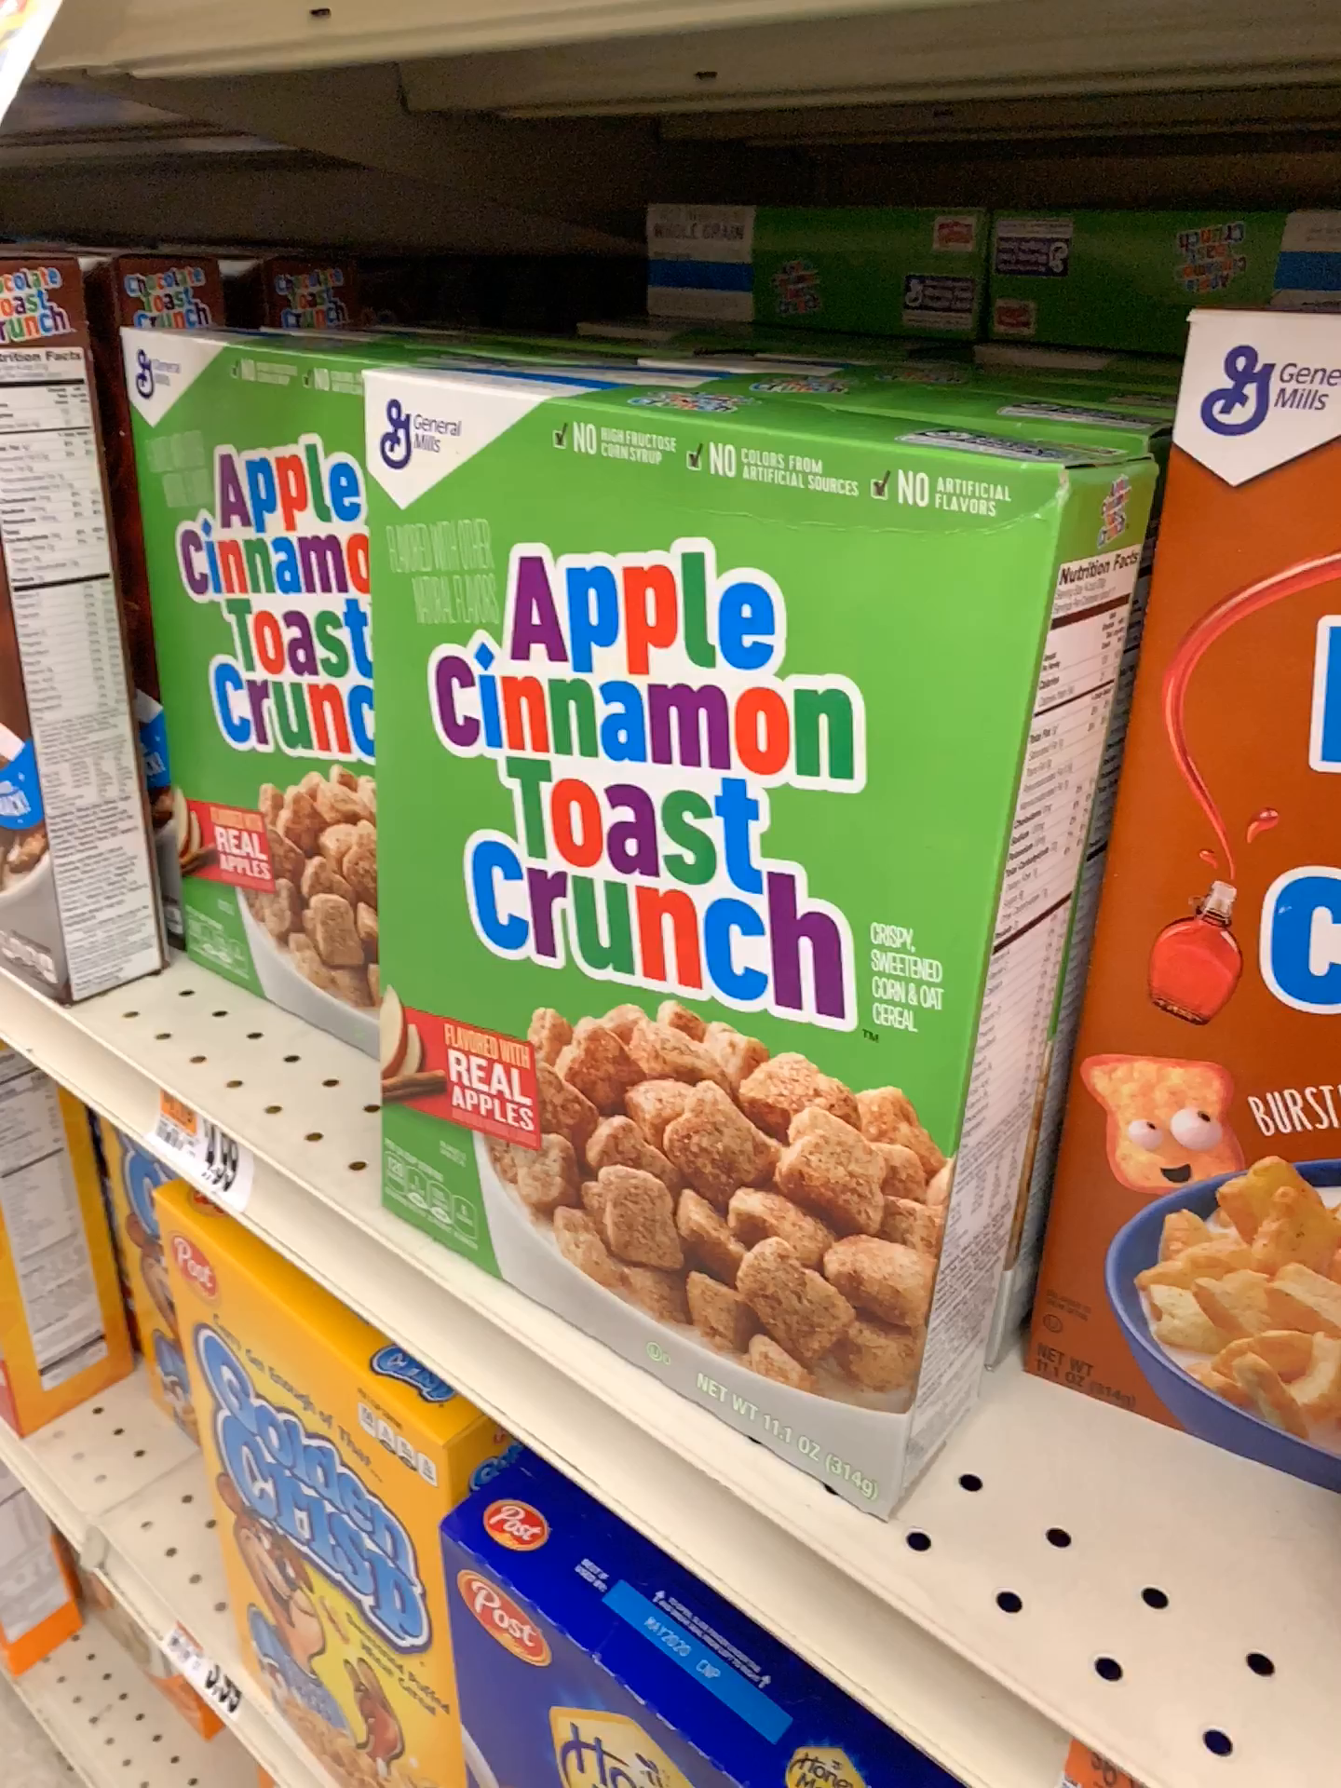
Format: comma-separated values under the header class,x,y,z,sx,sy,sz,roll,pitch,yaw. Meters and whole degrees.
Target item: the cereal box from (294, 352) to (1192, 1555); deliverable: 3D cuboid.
class,x,y,z,sx,sy,sz,roll,pitch,yaw
cereal box,0.000,0.007,0.374,0.210,0.269,0.060,21,31,33
